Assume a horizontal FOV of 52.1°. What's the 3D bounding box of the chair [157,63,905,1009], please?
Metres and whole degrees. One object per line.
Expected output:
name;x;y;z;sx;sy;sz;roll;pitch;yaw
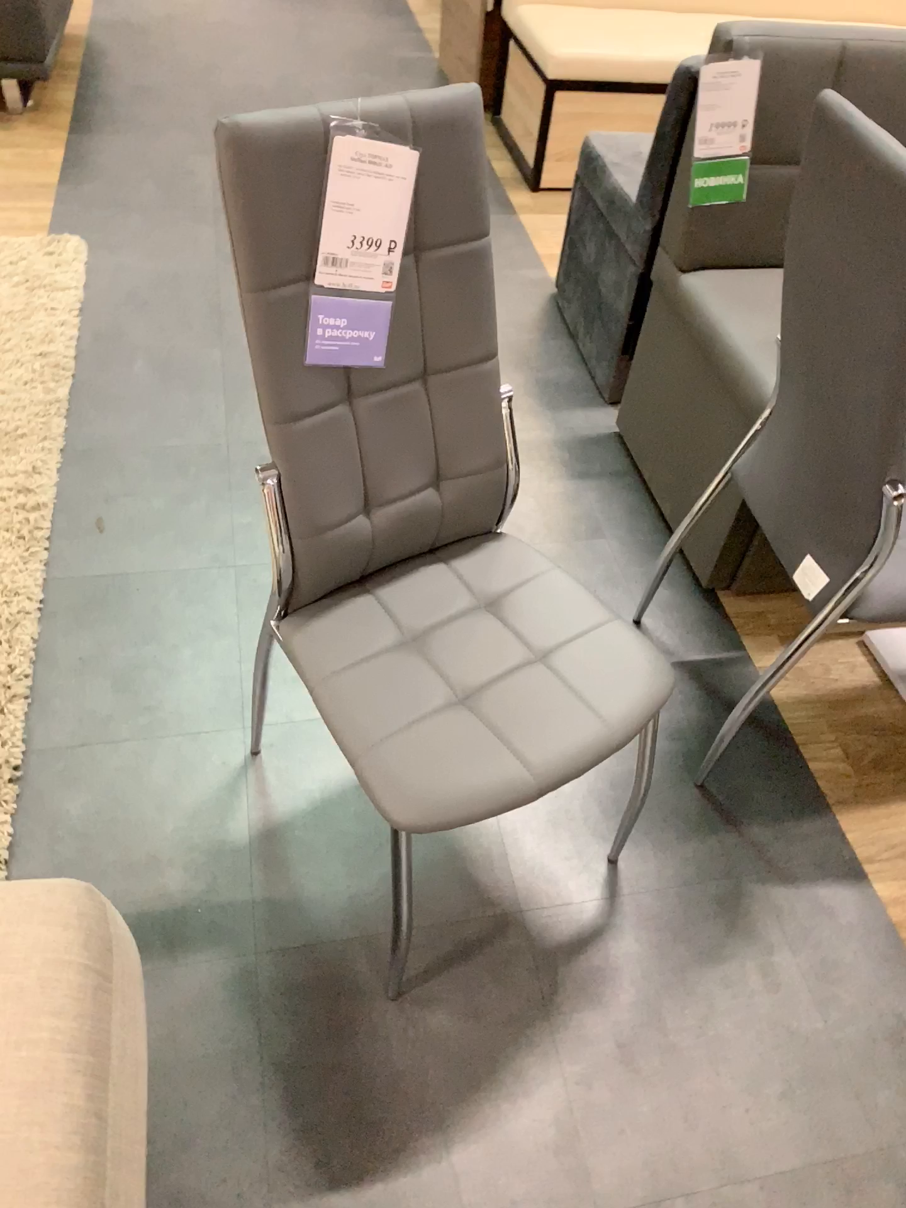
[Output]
chair;0.014;-0.022;1.199;0.471;1.025;0.531;-22;54;-26

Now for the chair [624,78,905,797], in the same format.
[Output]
chair;0.712;-0.182;1.476;0.550;1.025;0.452;-2;48;-10
